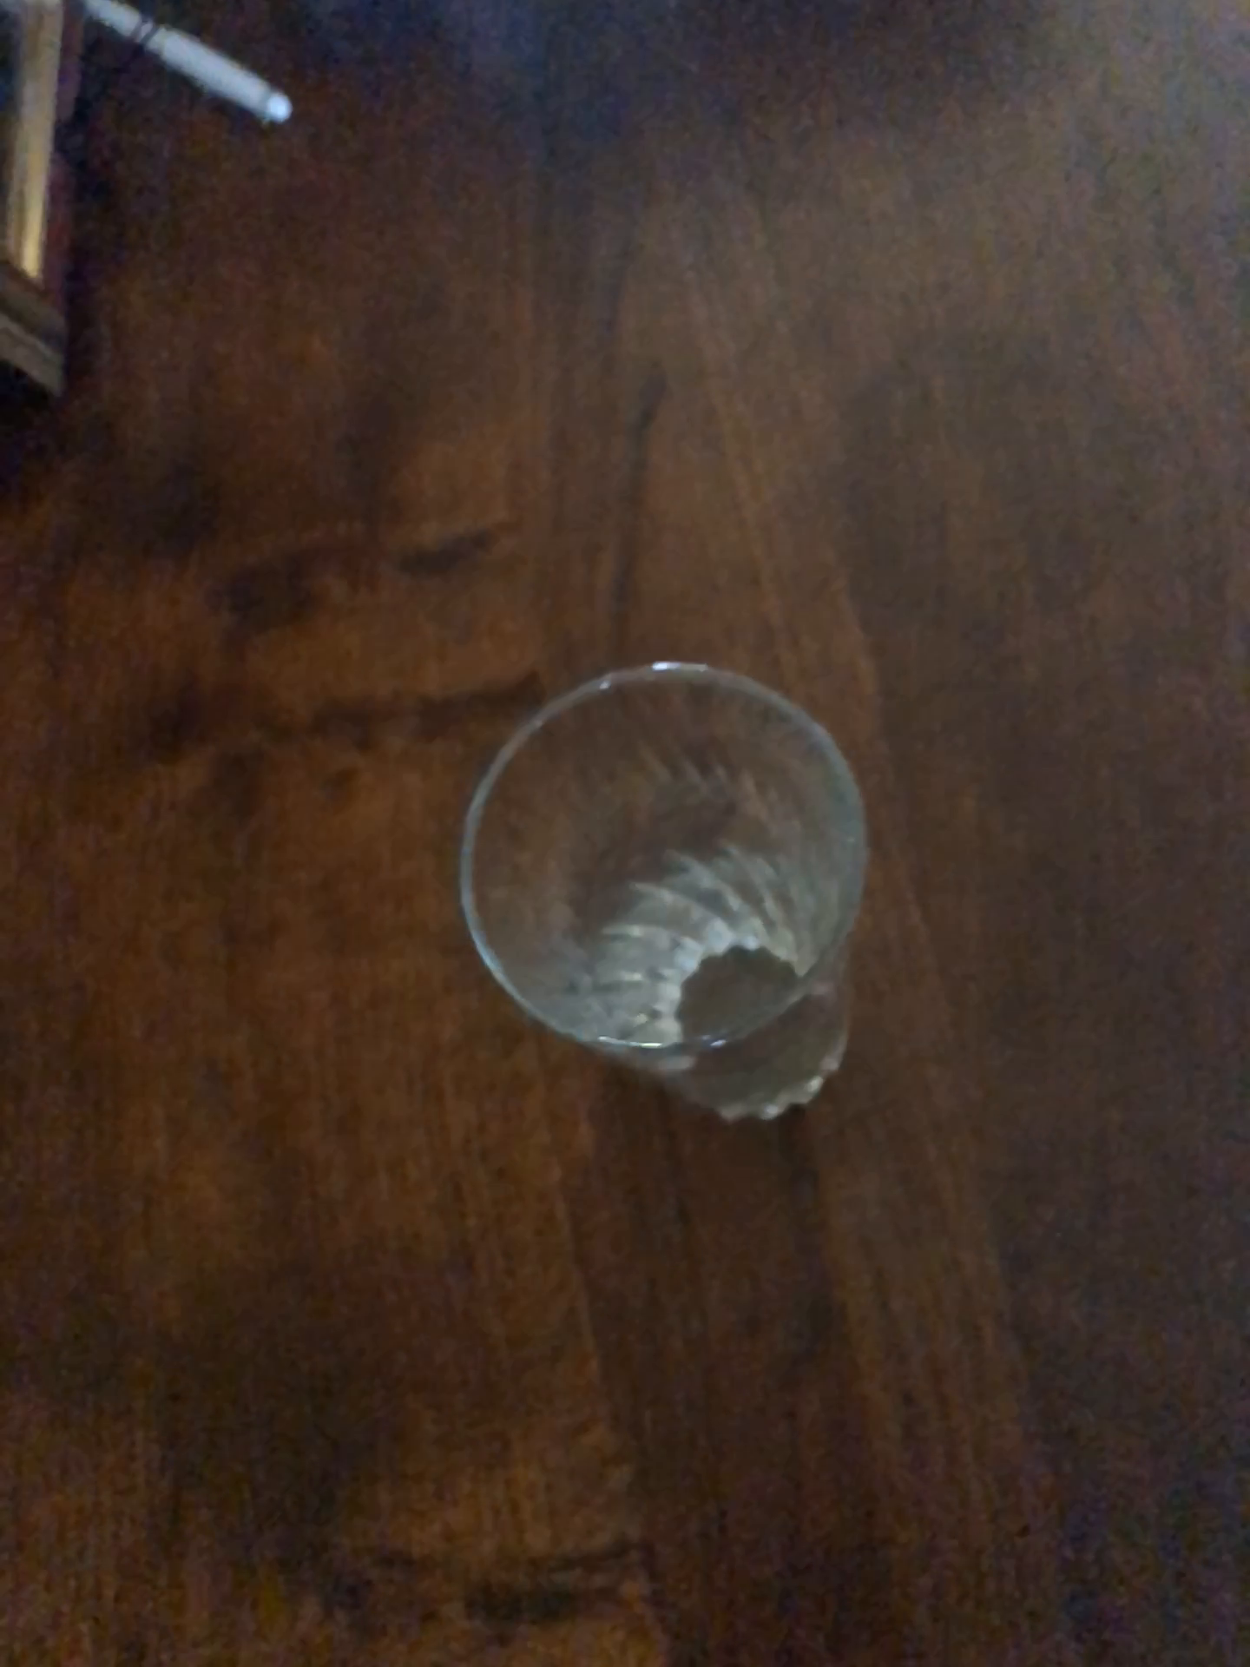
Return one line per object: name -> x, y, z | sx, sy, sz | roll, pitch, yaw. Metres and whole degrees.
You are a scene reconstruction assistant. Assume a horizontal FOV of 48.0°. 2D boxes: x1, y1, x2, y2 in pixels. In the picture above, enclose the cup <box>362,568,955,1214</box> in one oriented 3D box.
cup -> 0.017, 0.025, 0.301 | 0.070, 0.150, 0.070 | -4, 70, 10
